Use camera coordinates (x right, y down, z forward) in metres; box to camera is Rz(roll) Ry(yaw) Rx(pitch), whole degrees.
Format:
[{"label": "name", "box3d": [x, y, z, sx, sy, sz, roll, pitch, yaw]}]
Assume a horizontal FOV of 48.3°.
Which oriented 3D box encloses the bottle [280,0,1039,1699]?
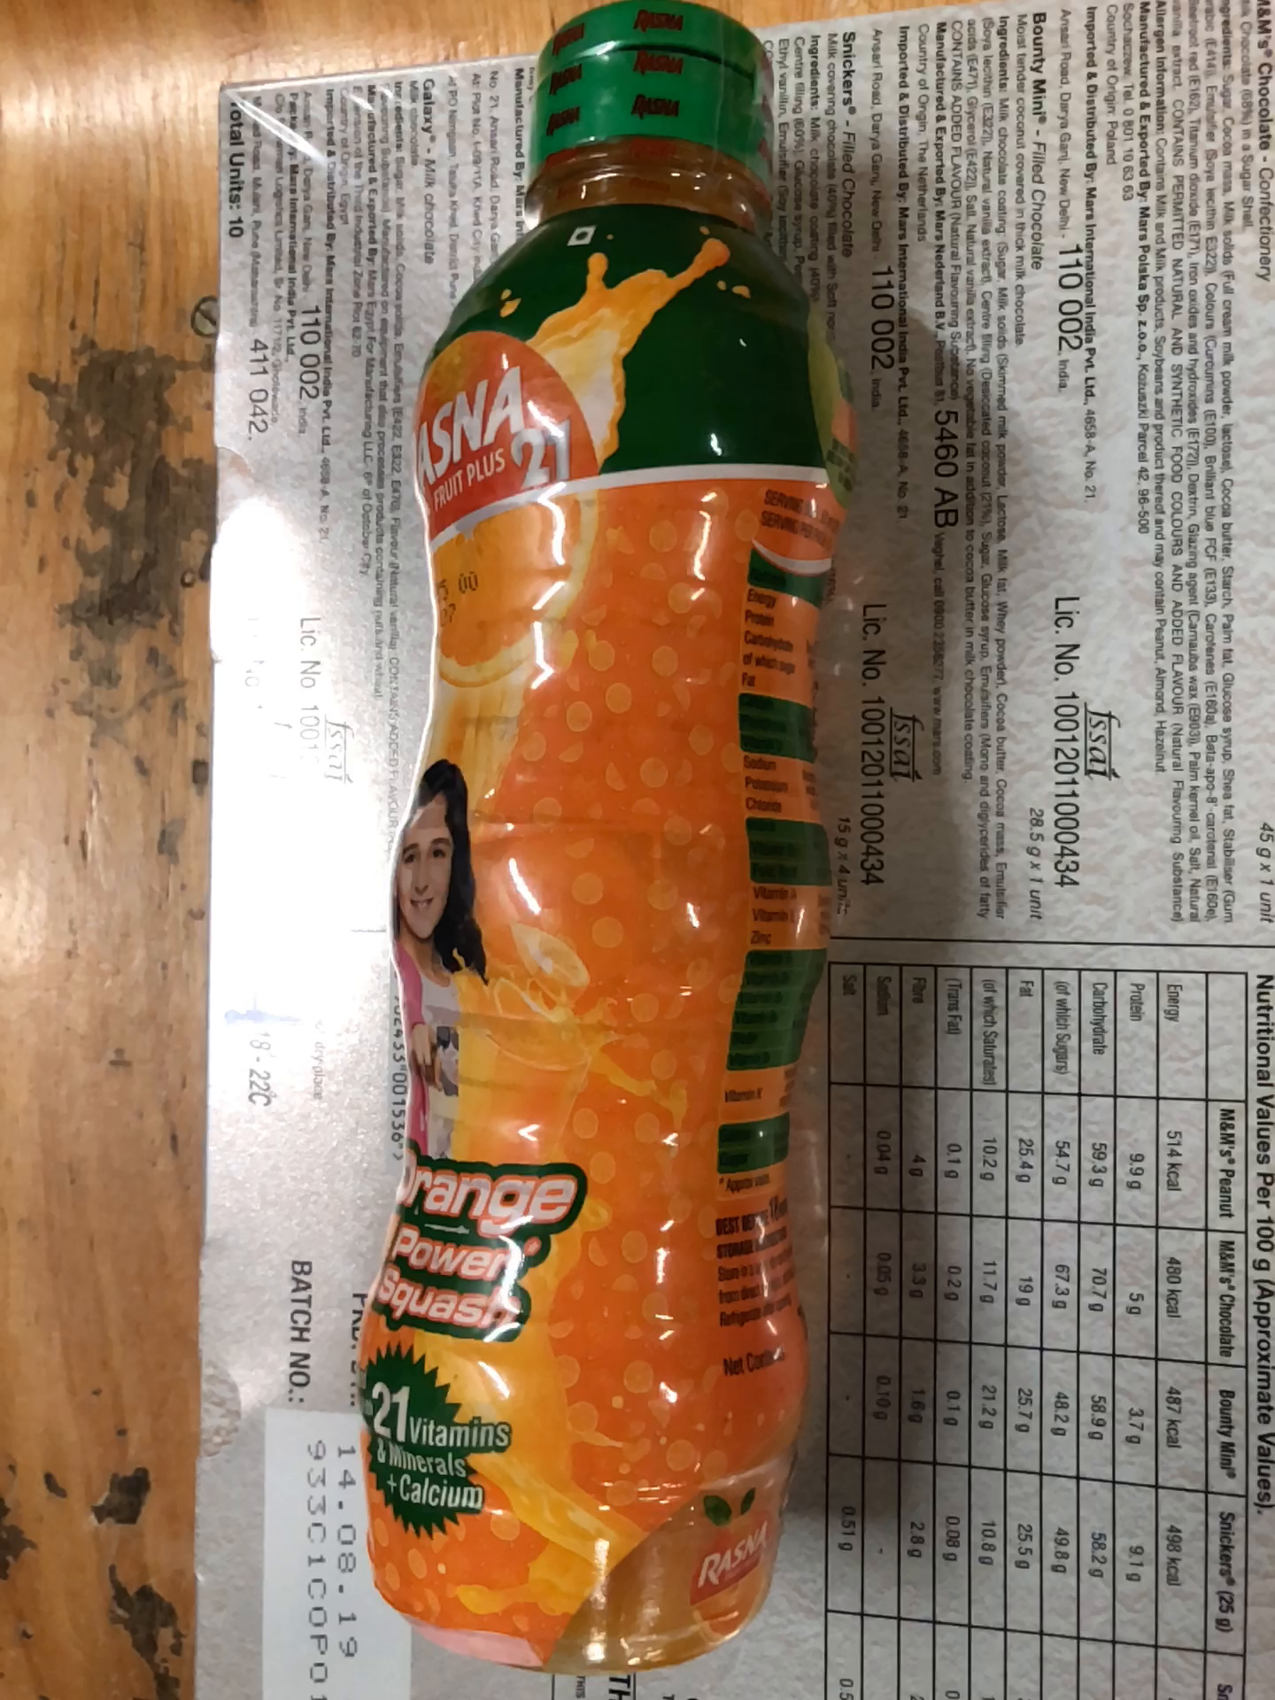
[{"label": "bottle", "box3d": [-0.001, -0.009, 0.223, 0.080, 0.070, 0.250, 4, 91, -24]}]
